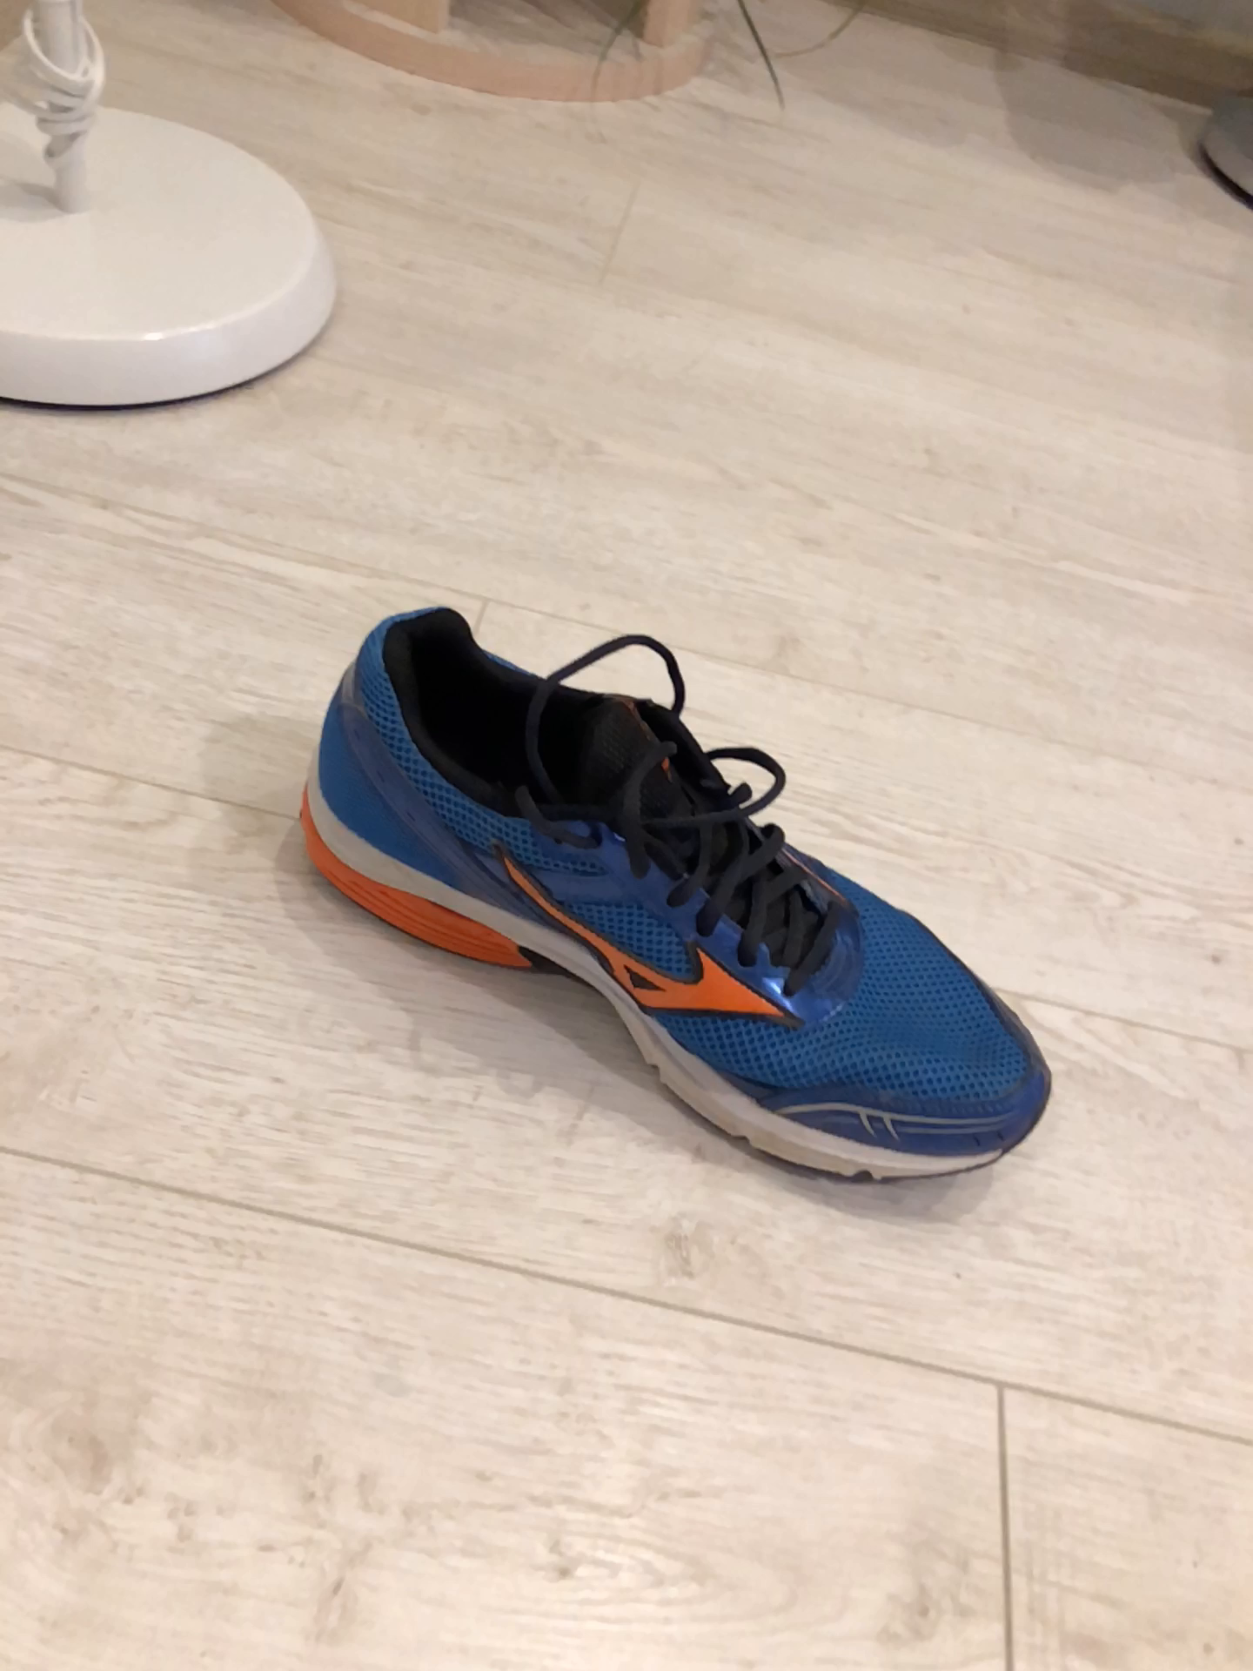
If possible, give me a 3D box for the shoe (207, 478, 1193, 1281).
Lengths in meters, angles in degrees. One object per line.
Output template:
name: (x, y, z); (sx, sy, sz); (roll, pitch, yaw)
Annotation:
shoe: (0.018, 0.010, 0.481); (0.300, 0.119, 0.117); (26, 48, 9)
